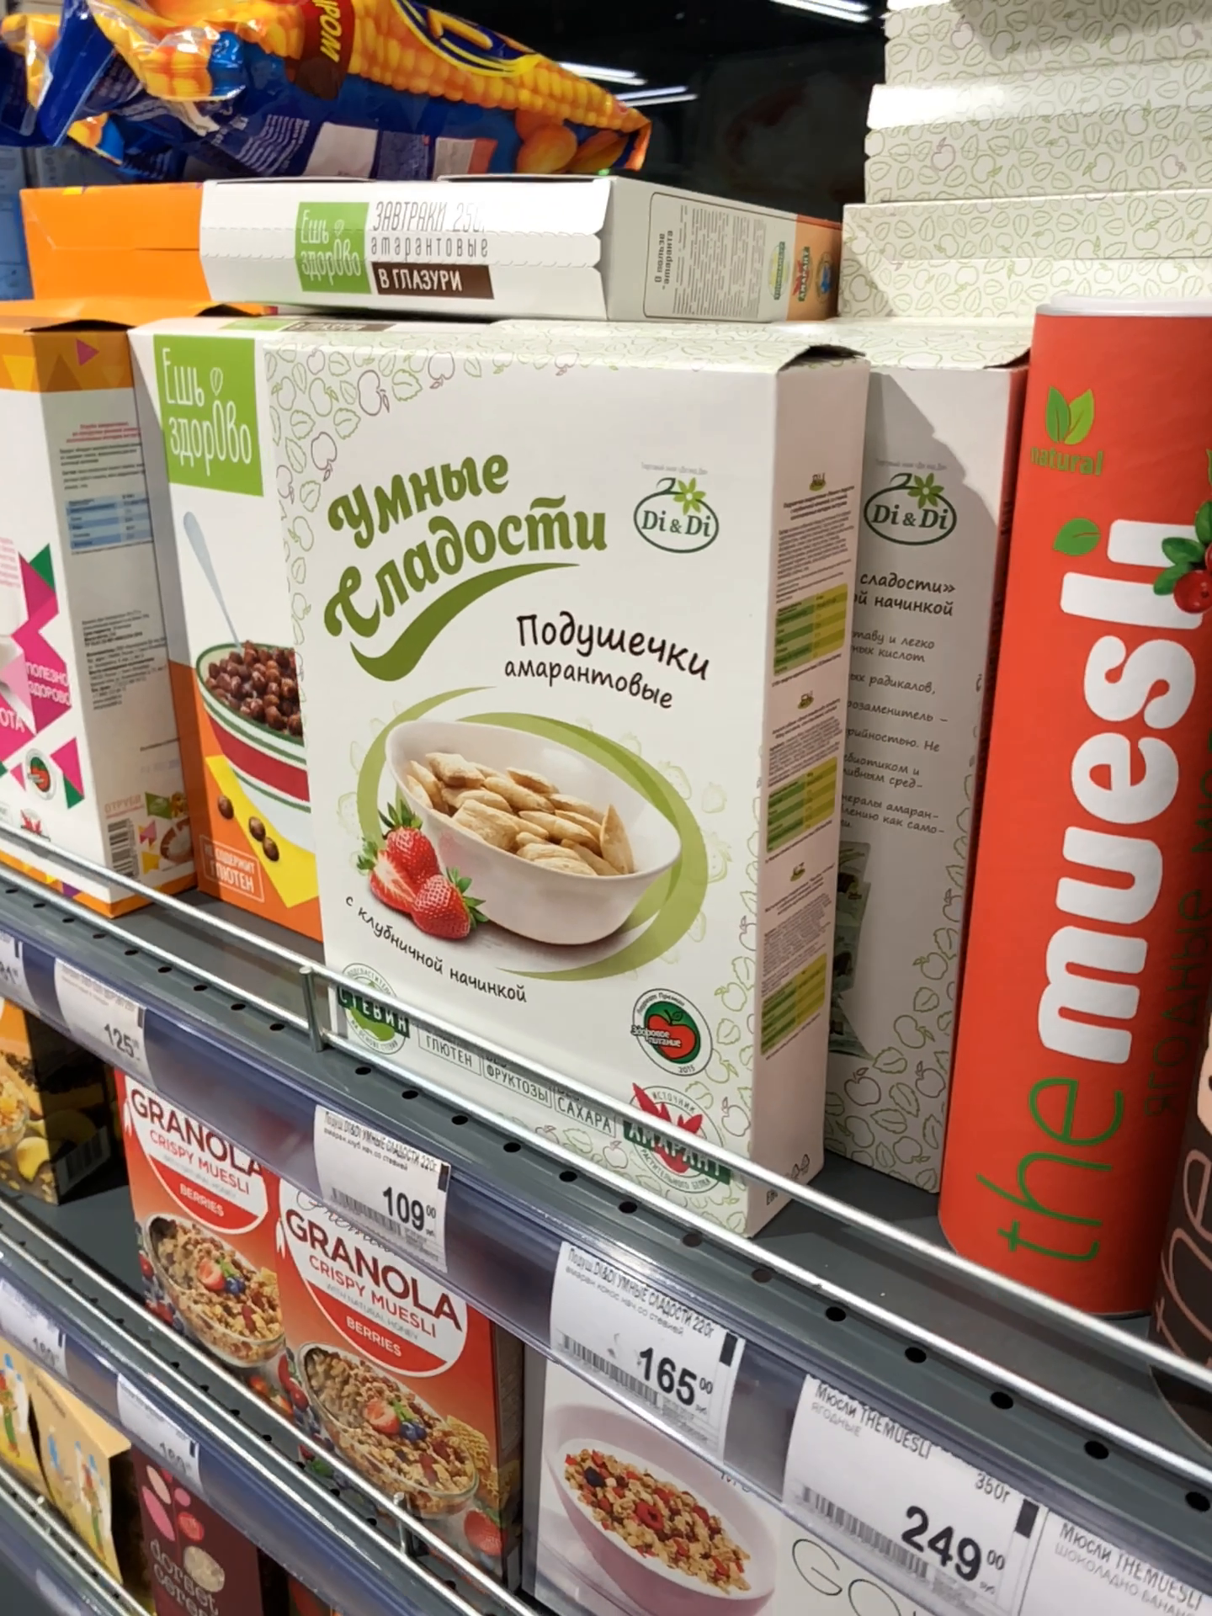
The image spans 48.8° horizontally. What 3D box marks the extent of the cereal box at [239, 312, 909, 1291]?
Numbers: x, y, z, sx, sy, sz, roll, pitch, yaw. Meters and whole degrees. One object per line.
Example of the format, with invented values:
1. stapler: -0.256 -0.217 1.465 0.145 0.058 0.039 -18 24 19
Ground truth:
1. cereal box: -0.018 -0.013 0.412 0.200 0.259 0.050 17 27 37
